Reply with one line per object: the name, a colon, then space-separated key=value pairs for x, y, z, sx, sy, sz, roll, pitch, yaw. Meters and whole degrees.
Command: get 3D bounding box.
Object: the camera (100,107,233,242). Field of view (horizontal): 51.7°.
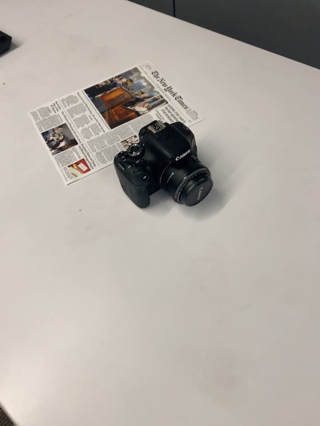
camera: x=0.011 y=-0.066 z=0.549 sx=0.146 sy=0.100 sz=0.143 roll=-36 pitch=62 yaw=-15
